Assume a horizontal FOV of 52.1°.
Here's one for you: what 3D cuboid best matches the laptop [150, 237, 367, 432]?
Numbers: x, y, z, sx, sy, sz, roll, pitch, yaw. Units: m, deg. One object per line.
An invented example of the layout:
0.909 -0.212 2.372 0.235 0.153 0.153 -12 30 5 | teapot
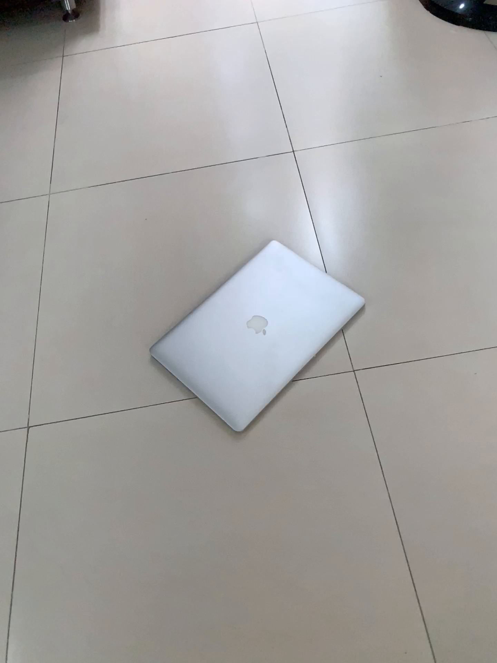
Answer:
0.021 -0.014 0.969 0.239 0.001 0.356 37 70 24 | laptop
